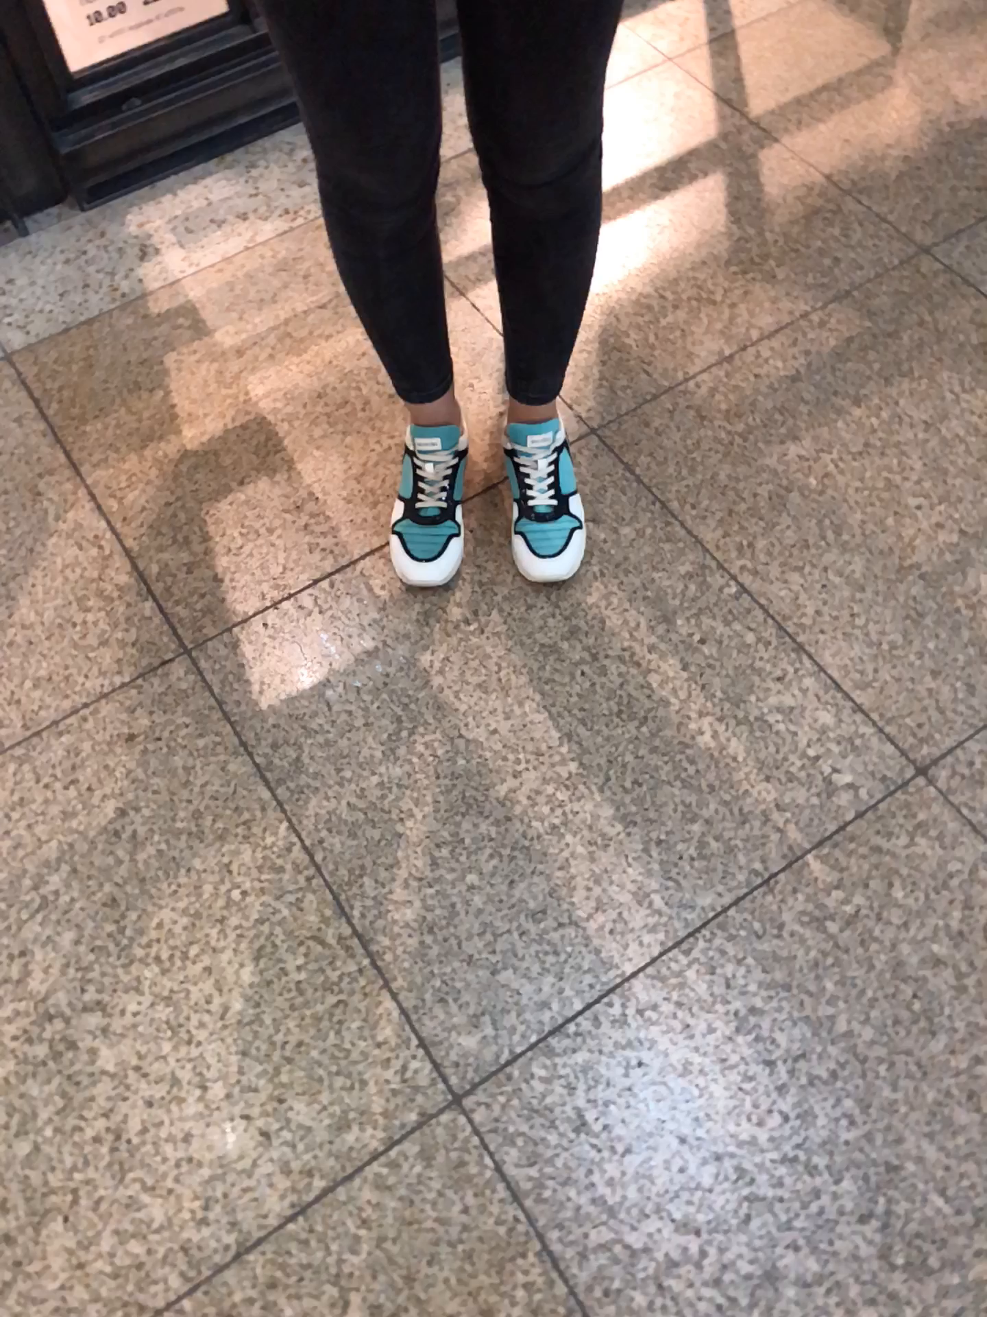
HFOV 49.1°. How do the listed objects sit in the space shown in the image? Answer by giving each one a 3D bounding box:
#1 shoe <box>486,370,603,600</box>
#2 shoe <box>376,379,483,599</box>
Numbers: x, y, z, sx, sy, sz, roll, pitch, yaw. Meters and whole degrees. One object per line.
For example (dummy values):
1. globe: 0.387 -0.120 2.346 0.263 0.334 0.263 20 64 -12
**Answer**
1. shoe: 0.058 -0.209 1.291 0.100 0.120 0.241 -8 59 -1
2. shoe: -0.072 -0.206 1.307 0.100 0.120 0.241 1 59 4
